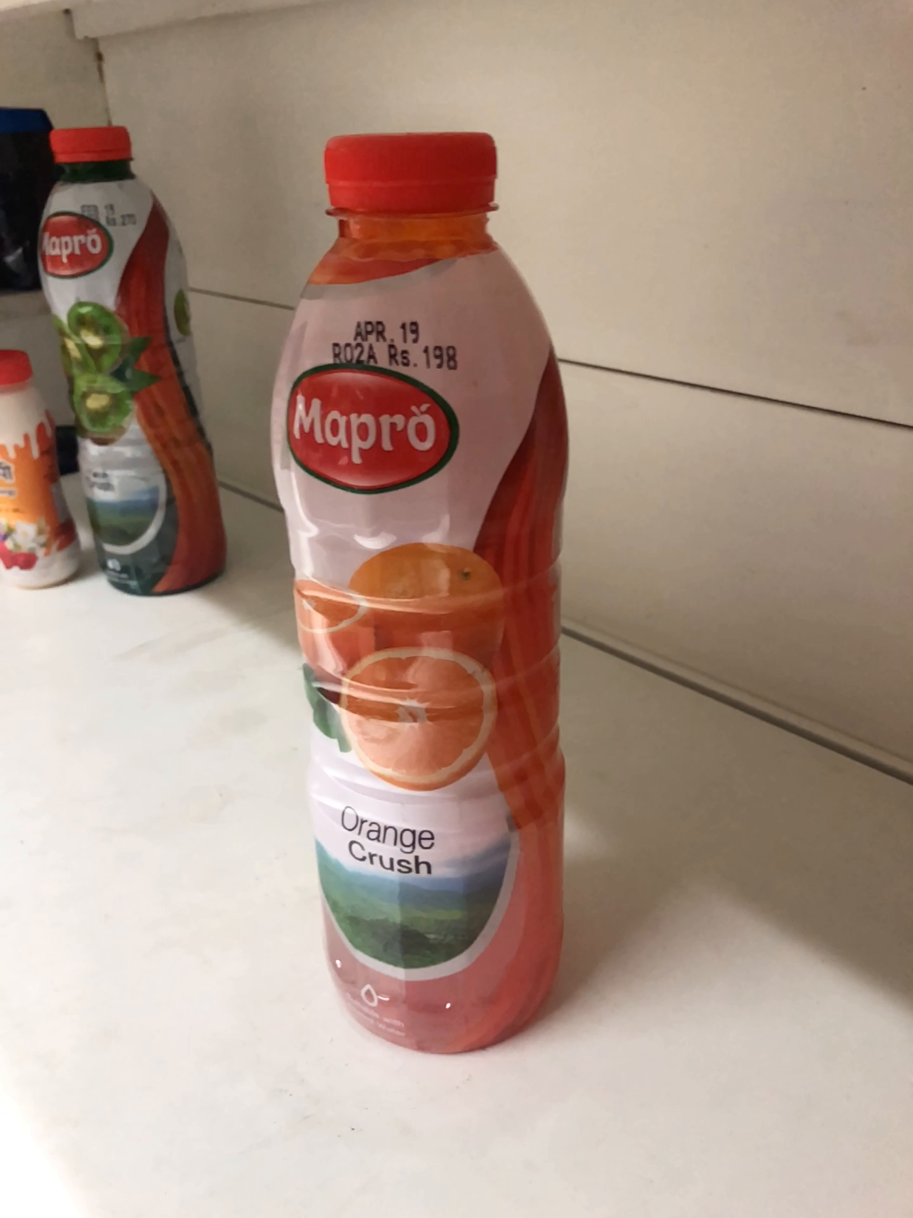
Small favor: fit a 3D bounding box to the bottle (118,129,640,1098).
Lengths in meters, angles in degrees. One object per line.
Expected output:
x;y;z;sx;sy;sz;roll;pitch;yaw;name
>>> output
-0.012;0.002;0.277;0.090;0.239;0.080;9;27;21;bottle
